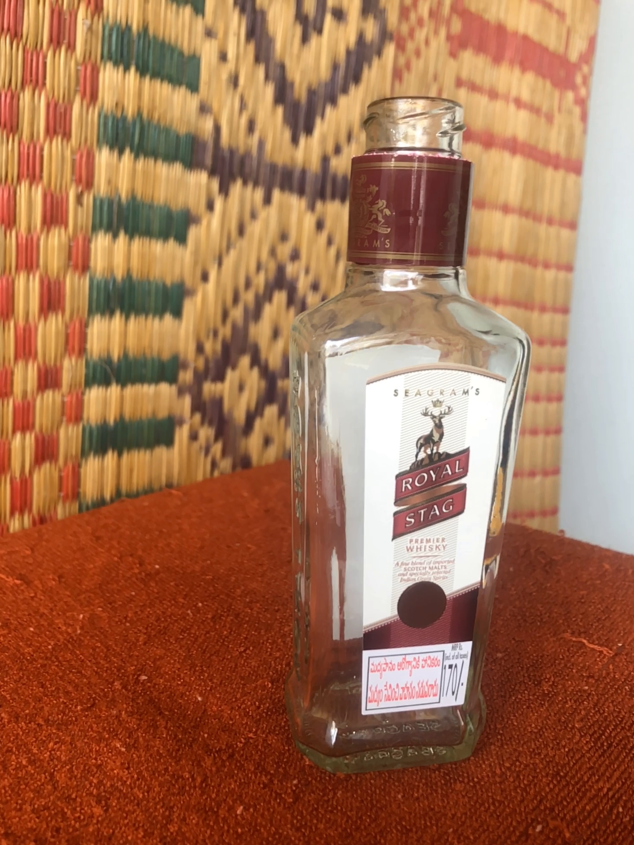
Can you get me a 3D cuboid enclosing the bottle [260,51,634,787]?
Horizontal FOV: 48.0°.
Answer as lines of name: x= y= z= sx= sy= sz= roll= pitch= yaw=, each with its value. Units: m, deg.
bottle: x=0.025 y=0.002 z=0.183 sx=0.060 sy=0.159 sz=0.060 roll=5 pitch=16 yaw=-2
